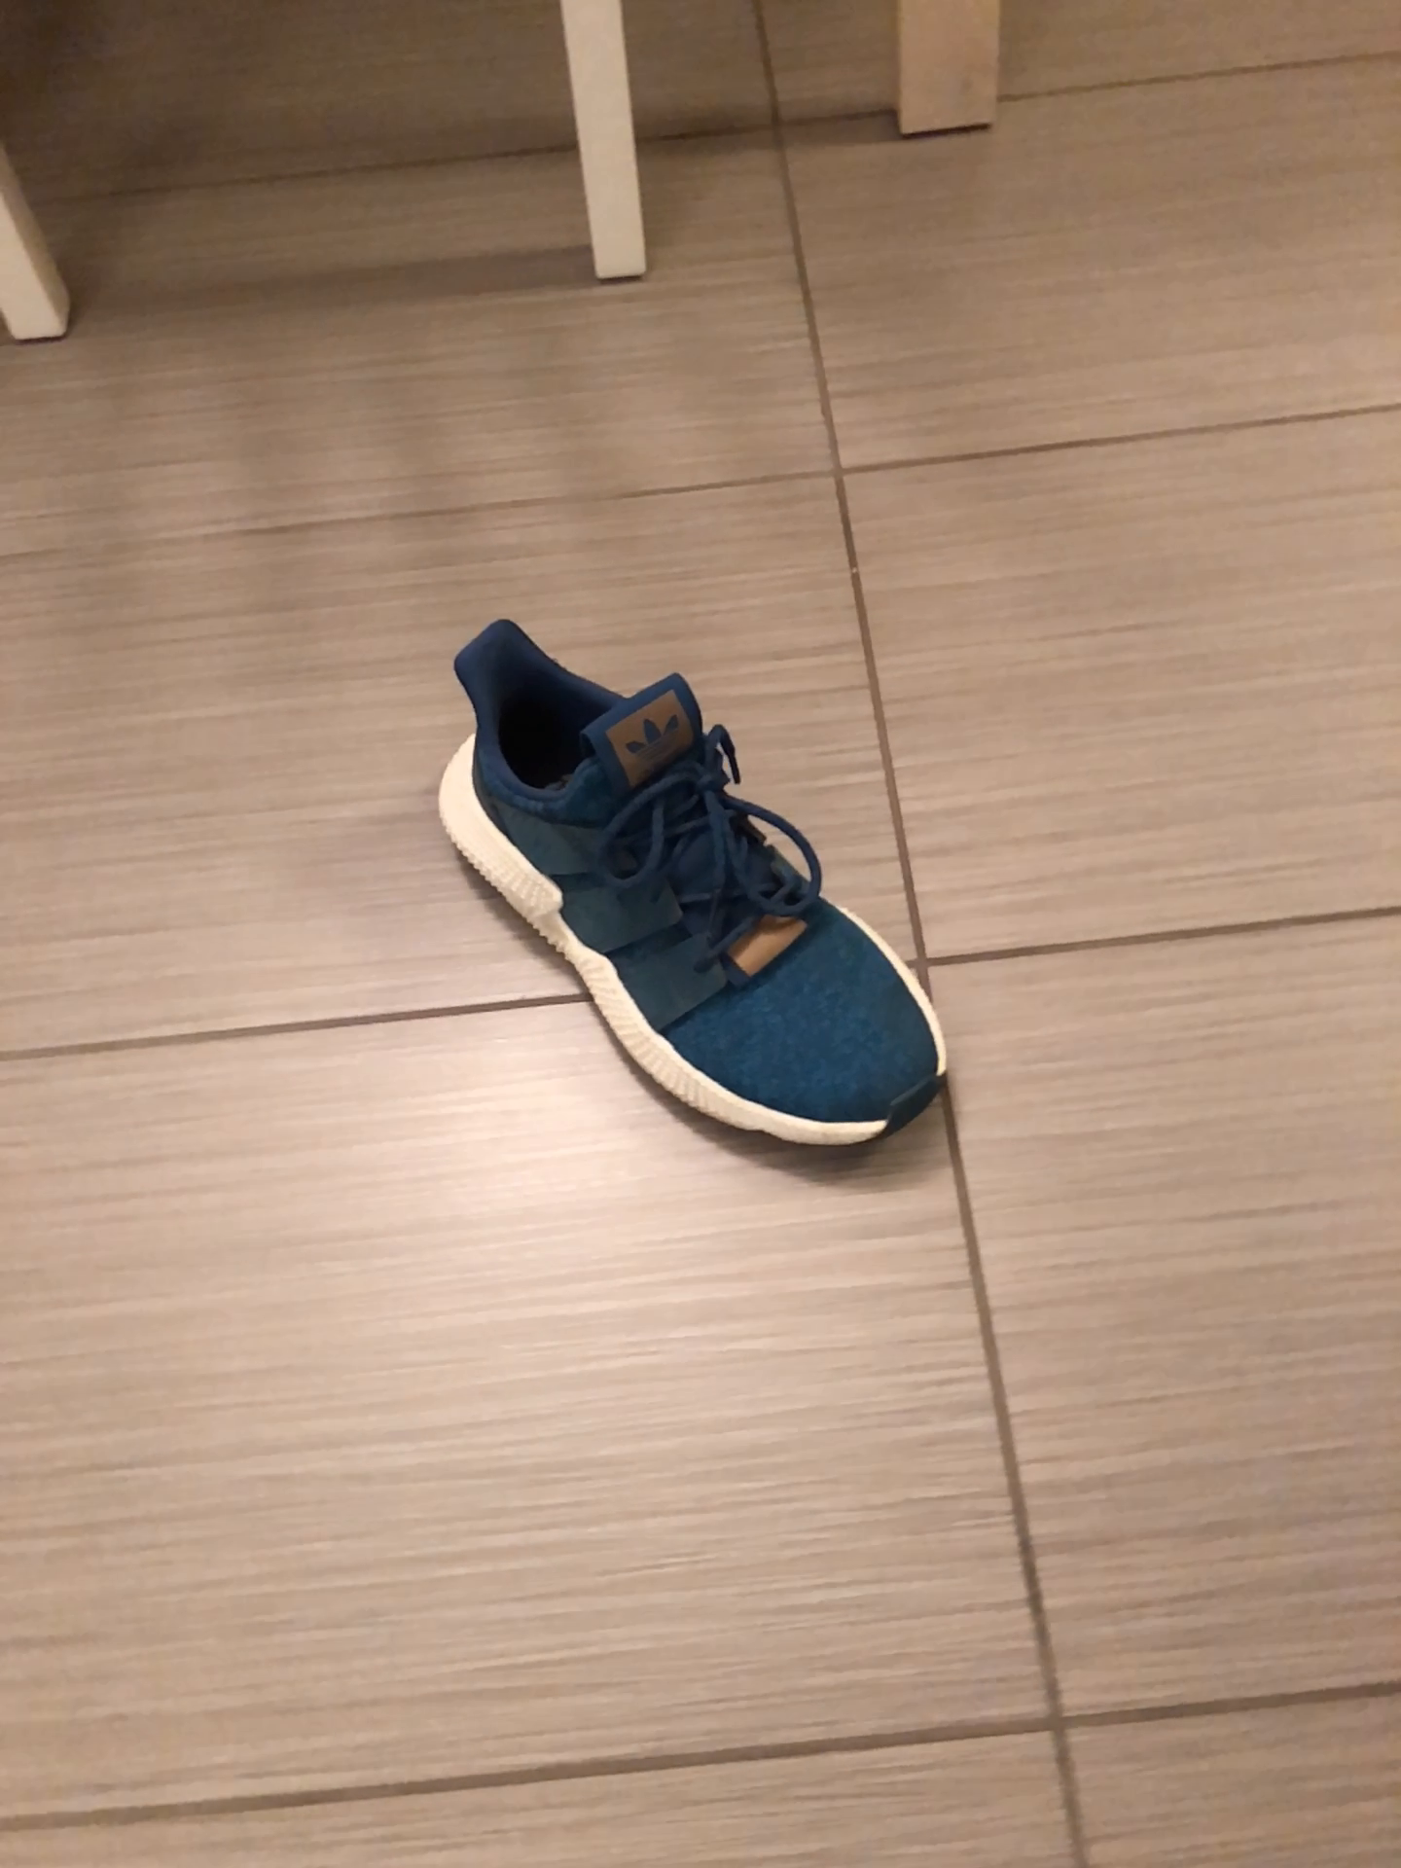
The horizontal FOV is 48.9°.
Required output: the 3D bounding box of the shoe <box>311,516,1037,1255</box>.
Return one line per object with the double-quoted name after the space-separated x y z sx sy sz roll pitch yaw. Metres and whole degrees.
-0.016 -0.025 0.638 0.112 0.120 0.290 -40 65 -17 "shoe"
